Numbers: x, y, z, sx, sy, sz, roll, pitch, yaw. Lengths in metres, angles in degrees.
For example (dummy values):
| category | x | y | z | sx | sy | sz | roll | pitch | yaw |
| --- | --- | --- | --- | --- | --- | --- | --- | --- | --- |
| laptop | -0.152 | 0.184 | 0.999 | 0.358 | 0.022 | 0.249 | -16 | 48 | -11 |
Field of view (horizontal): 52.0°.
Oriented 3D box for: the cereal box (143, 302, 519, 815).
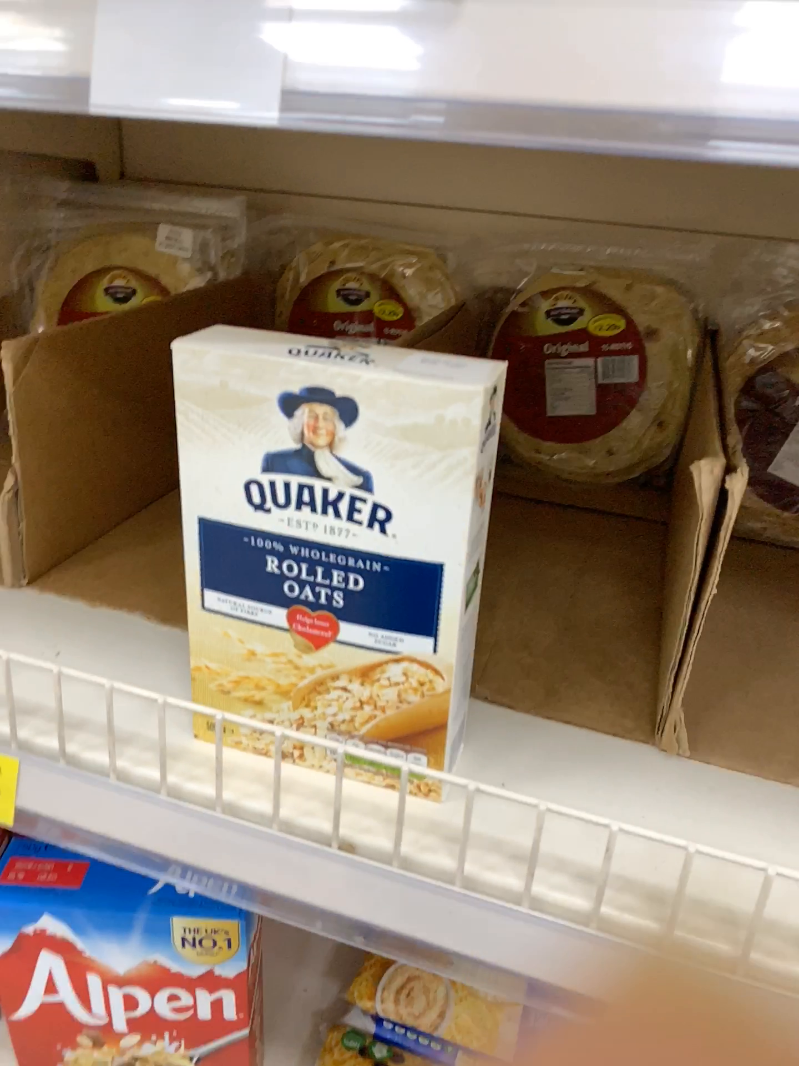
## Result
| category | x | y | z | sx | sy | sz | roll | pitch | yaw |
| --- | --- | --- | --- | --- | --- | --- | --- | --- | --- |
| cereal box | -0.034 | 0.012 | 0.399 | 0.150 | 0.218 | 0.060 | 11 | 26 | 15 |
